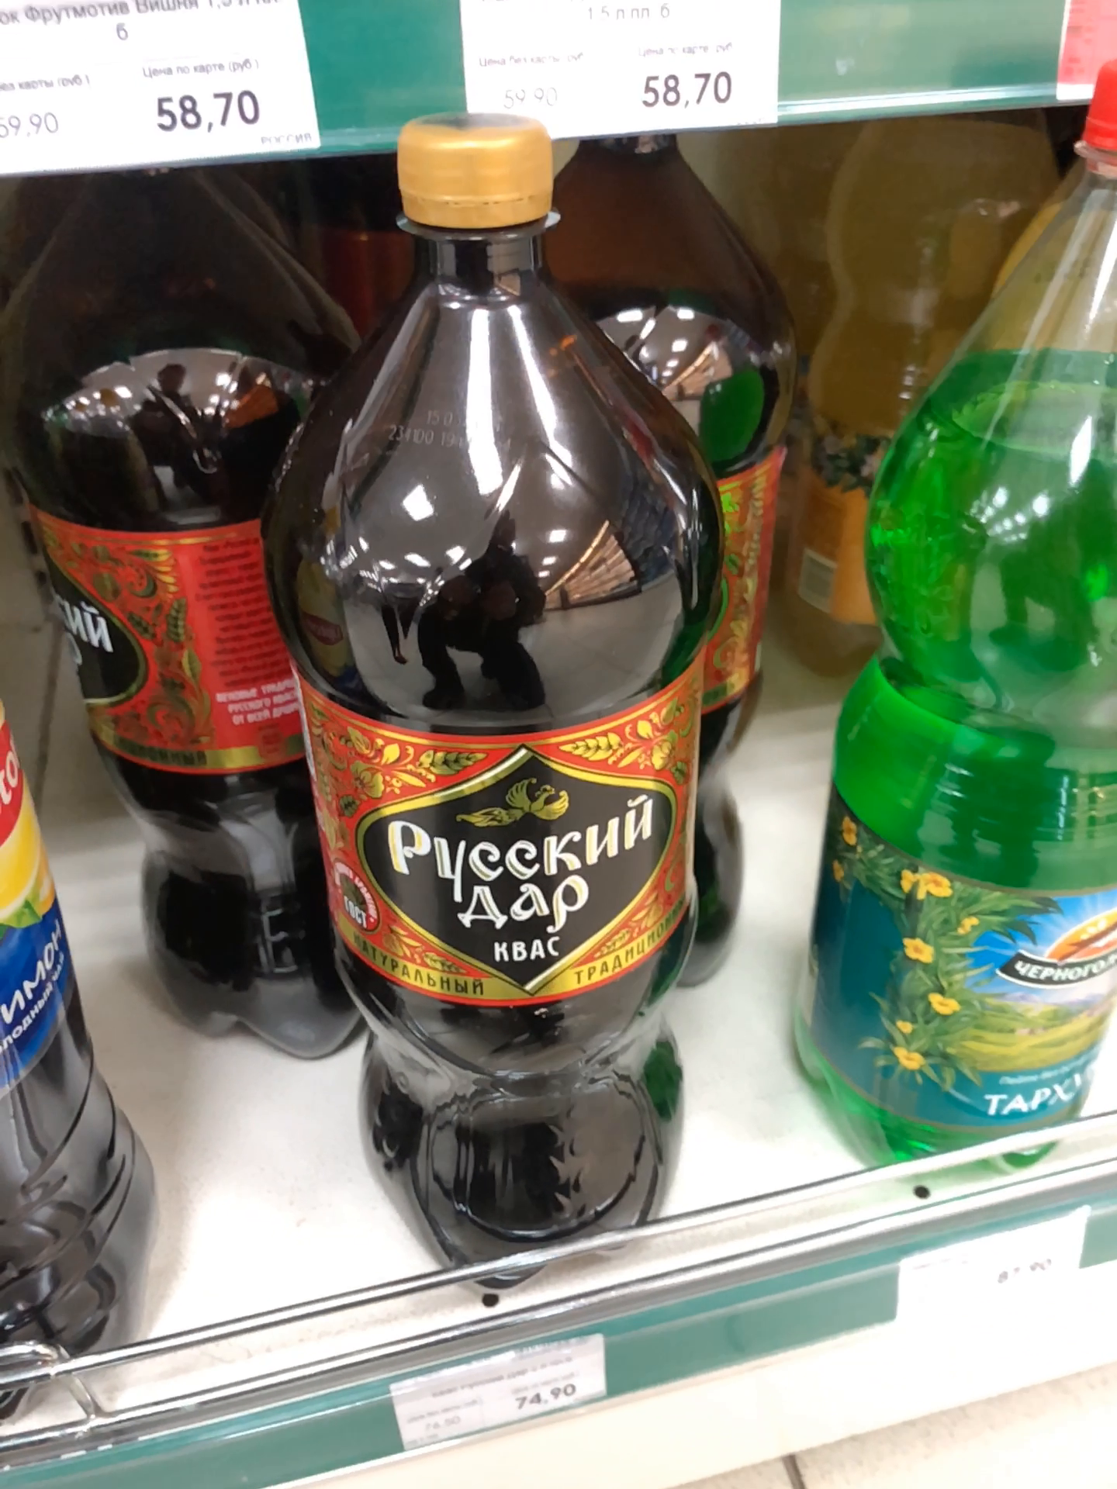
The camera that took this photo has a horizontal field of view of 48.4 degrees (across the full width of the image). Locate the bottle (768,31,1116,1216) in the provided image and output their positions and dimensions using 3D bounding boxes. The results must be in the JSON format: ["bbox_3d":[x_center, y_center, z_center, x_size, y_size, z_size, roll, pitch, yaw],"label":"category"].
[{"bbox_3d":[0.132,-0.006,0.351,0.099,0.327,0.085,-7,38,-7],"label":"bottle"}]

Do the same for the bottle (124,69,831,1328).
[{"bbox_3d":[-0.015,0.014,0.329,0.110,0.322,0.101,-1,37,1],"label":"bottle"}]
